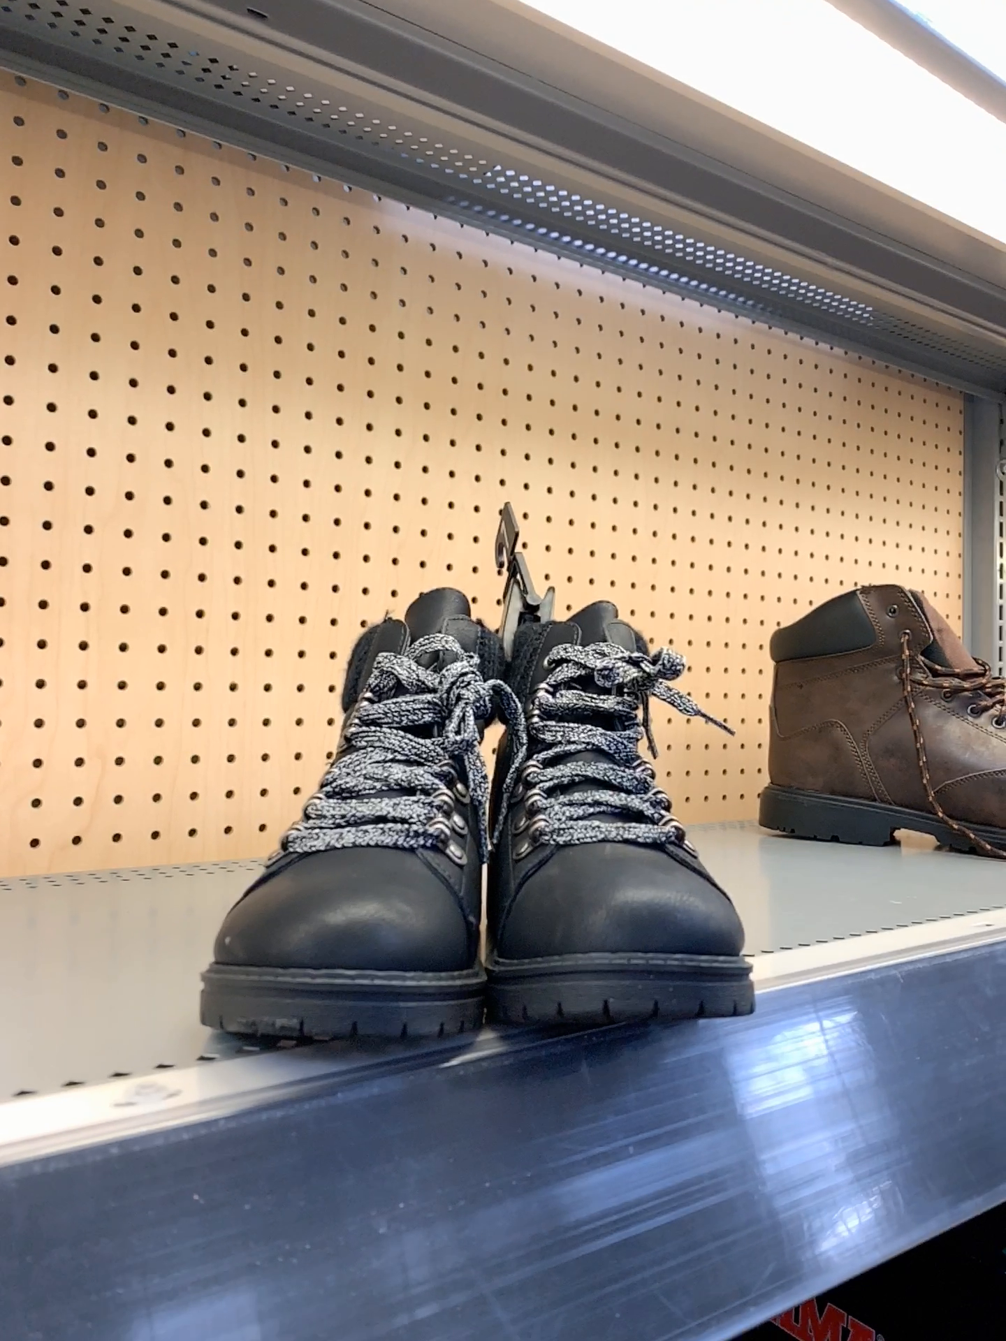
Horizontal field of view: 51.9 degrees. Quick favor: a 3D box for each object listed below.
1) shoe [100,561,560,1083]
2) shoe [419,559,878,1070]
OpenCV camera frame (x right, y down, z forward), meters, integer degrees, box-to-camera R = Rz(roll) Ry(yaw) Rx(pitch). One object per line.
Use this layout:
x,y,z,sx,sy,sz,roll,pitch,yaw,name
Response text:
-0.042,0.041,0.399,0.104,0.137,0.235,2,-1,8,shoe
0.034,0.041,0.402,0.105,0.137,0.231,2,-1,-11,shoe
